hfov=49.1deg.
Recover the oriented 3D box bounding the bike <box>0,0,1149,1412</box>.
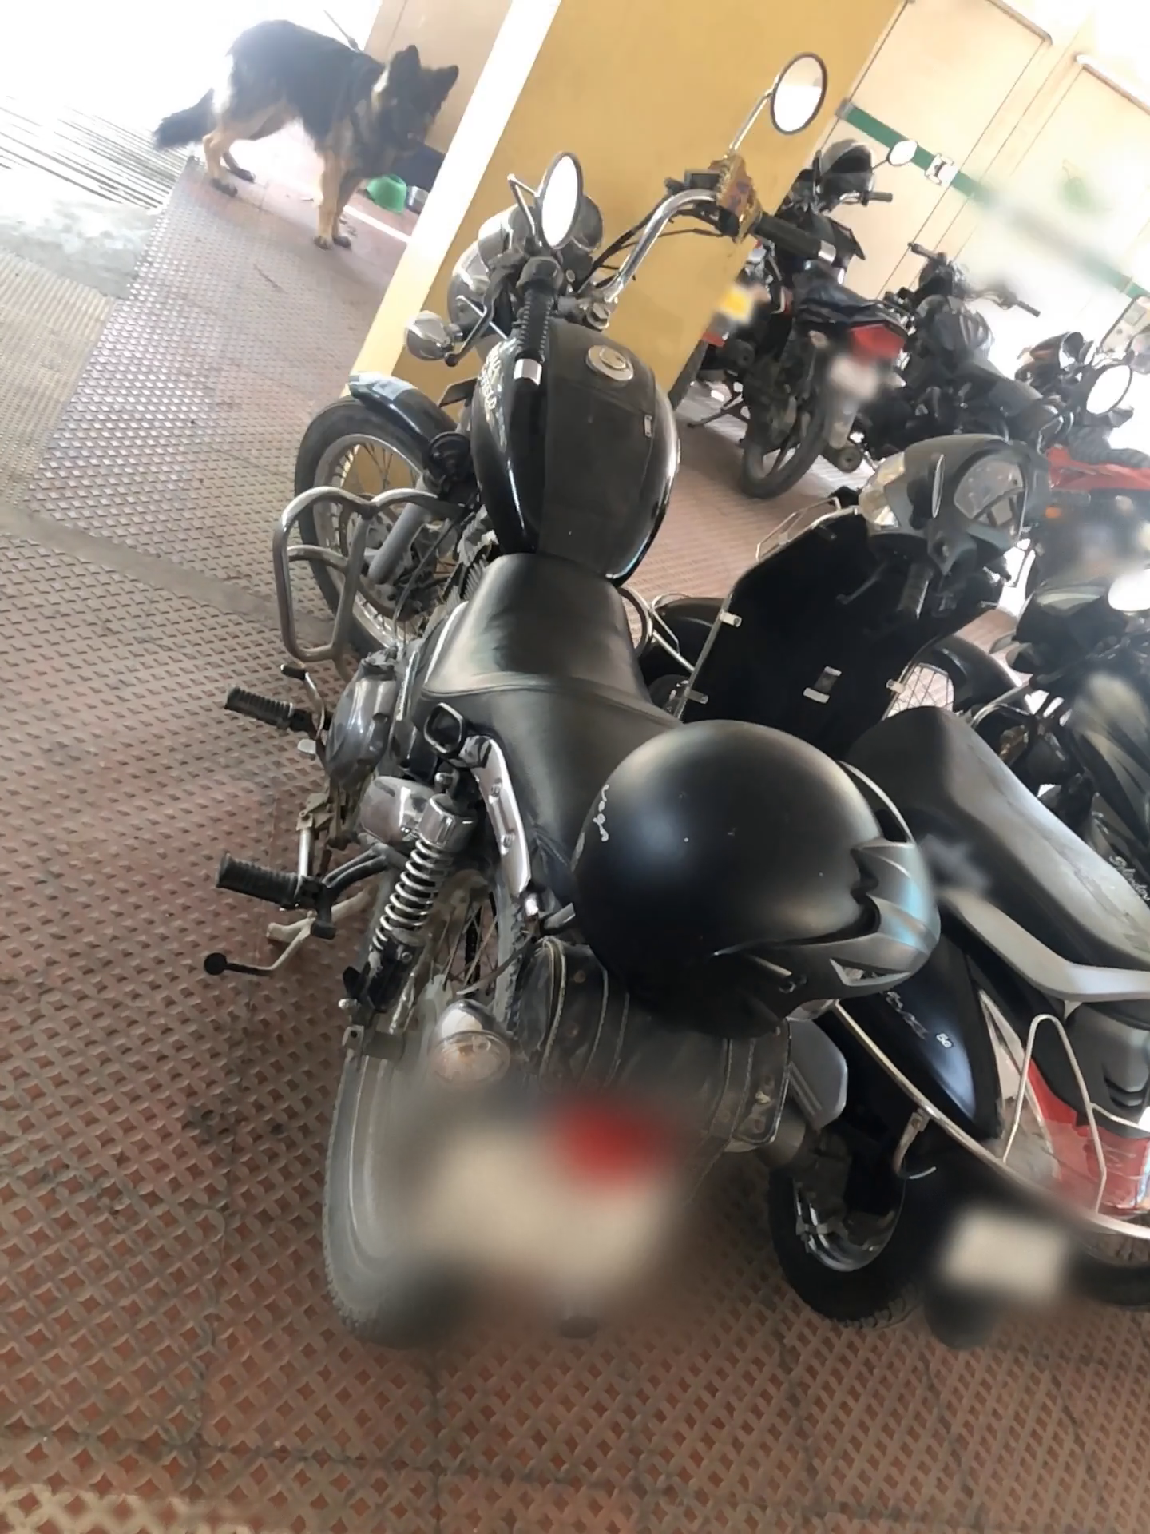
[{"bbox_3d":[-0.202,-0.321,1.823,0.784,1.178,1.817,14,38,-29],"label":"bike"}]
